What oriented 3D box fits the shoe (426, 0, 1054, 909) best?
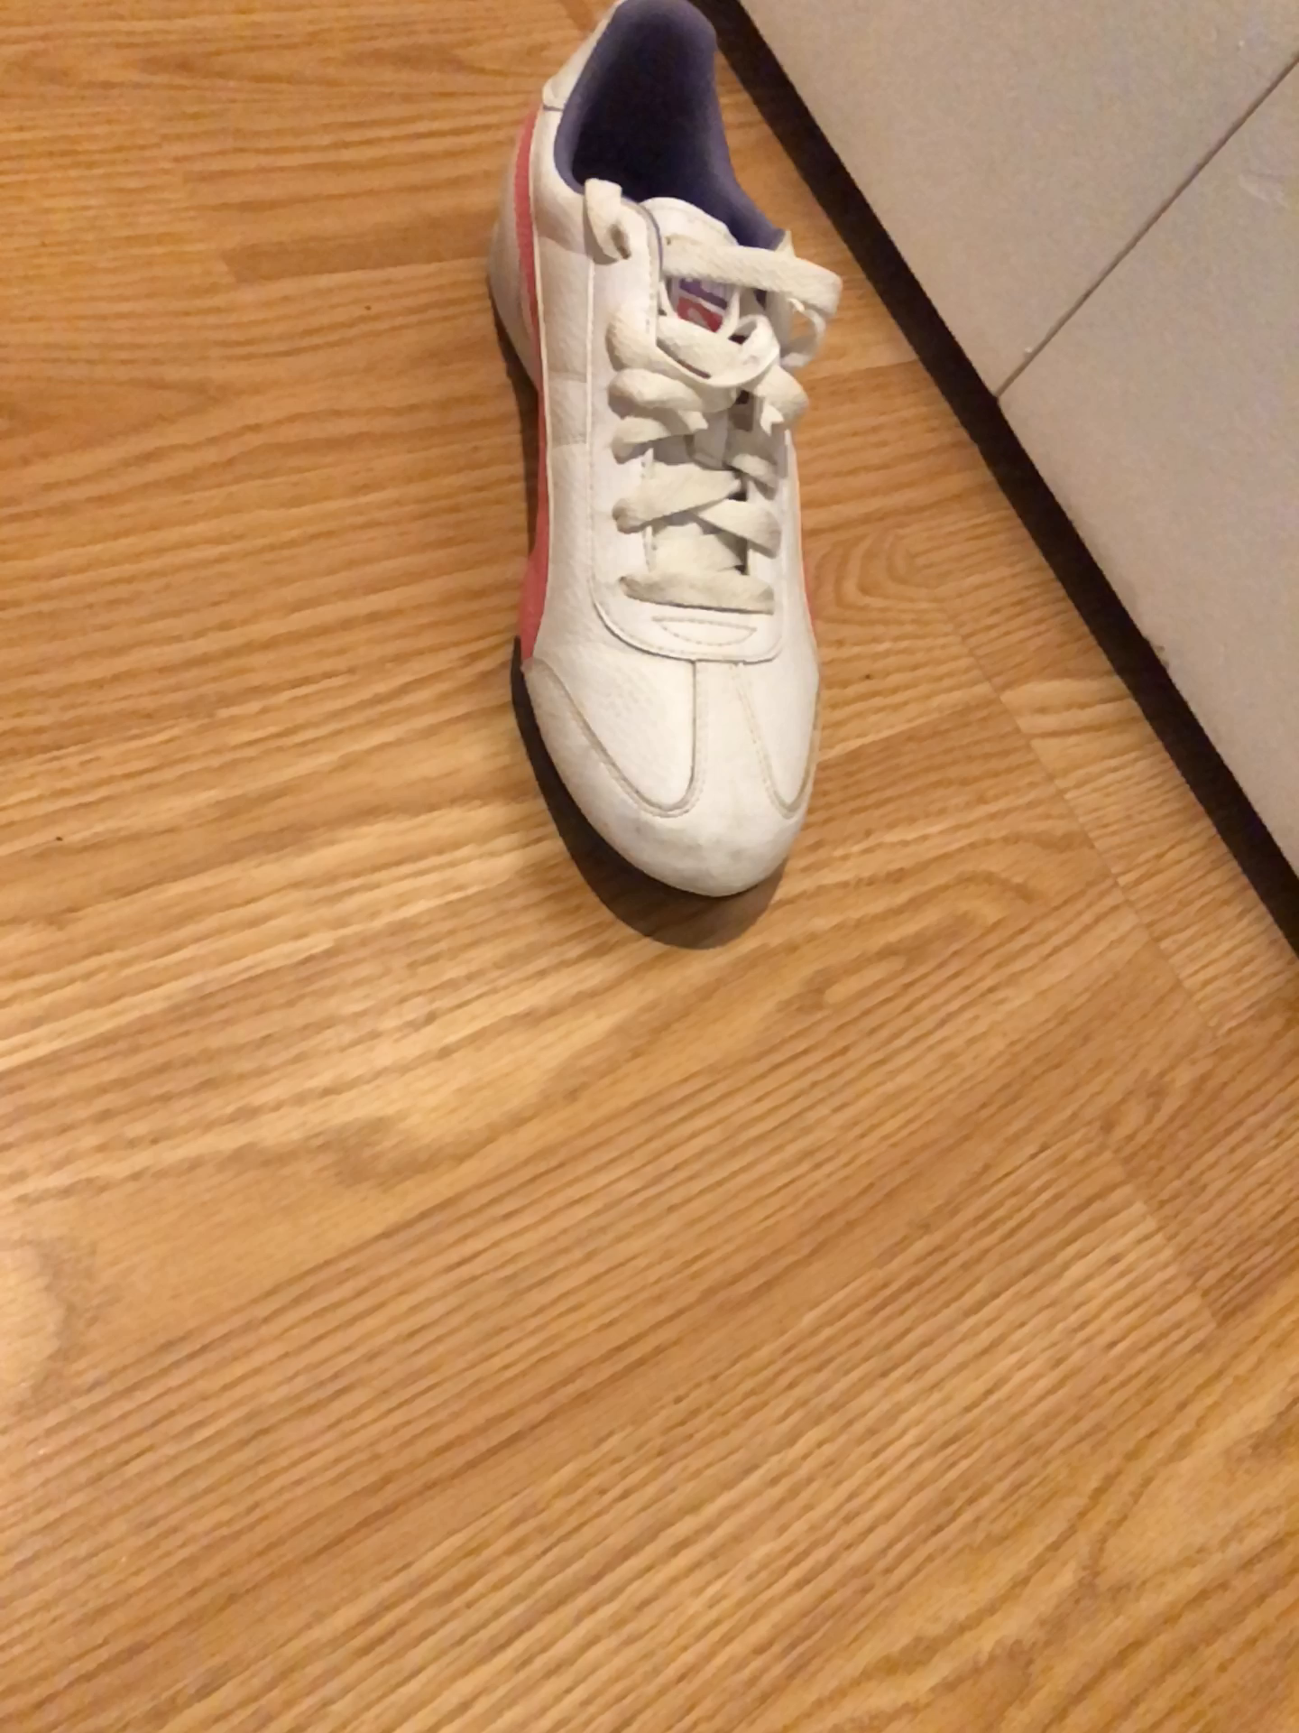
[{"bbox_3d":[0.011,-0.125,0.387,0.100,0.080,0.260,2,66,-25],"label":"shoe"}]
